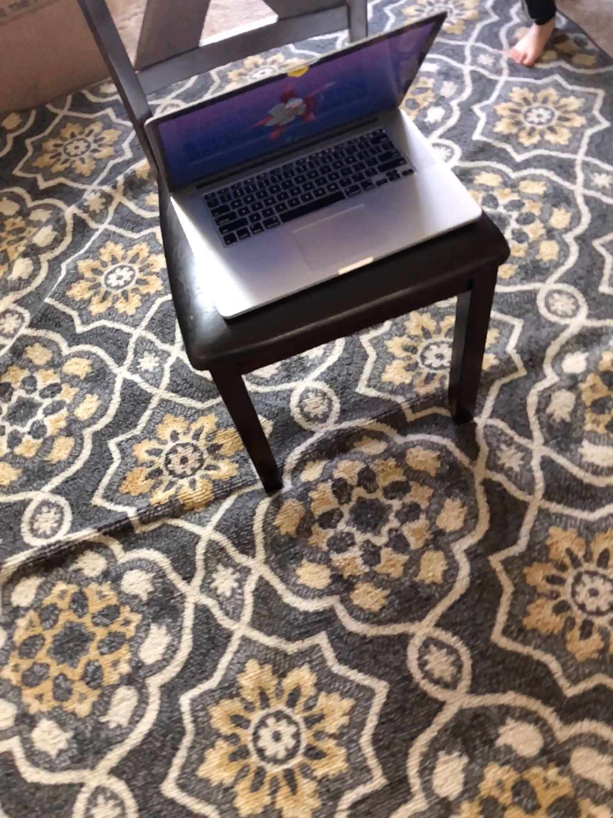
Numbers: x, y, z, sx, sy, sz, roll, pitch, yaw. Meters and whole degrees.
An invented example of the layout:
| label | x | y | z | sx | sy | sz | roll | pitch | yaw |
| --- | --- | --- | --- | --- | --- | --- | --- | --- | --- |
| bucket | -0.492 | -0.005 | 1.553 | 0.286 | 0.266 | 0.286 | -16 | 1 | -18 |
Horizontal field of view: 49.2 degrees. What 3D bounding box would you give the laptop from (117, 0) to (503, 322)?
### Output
| label | x | y | z | sx | sy | sz | roll | pitch | yaw |
| --- | --- | --- | --- | --- | --- | --- | --- | --- | --- |
| laptop | 0.002 | -0.315 | 0.796 | 0.351 | 0.200 | 0.237 | -23 | 59 | -6 |
